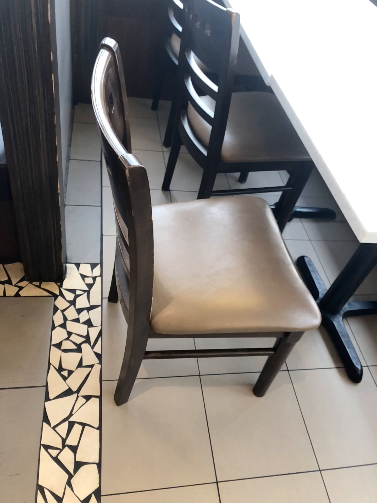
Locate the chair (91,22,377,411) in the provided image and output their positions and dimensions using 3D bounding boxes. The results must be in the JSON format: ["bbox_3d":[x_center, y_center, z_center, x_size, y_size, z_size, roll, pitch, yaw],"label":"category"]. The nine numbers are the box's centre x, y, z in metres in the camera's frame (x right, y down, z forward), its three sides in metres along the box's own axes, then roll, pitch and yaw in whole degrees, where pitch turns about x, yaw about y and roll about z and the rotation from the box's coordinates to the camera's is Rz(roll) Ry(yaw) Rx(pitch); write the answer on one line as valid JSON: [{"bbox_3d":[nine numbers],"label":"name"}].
[{"bbox_3d":[0.066,-0.024,0.964,0.570,0.716,0.473,0,49,-13],"label":"chair"}]
